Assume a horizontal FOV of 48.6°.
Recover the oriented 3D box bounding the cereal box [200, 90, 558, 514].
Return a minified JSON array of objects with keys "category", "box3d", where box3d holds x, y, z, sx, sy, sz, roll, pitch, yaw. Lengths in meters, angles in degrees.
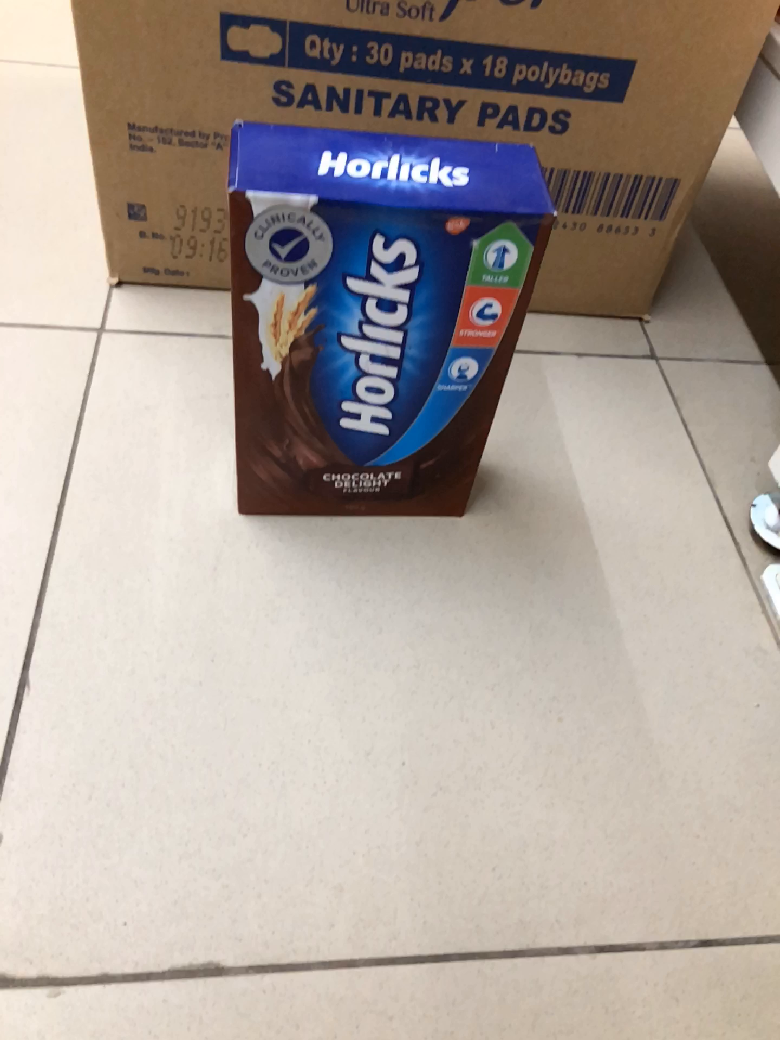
[{"category":"cereal box","box3d":[-0.017,-0.092,0.429,0.140,0.199,0.060,1,49,-8]}]
